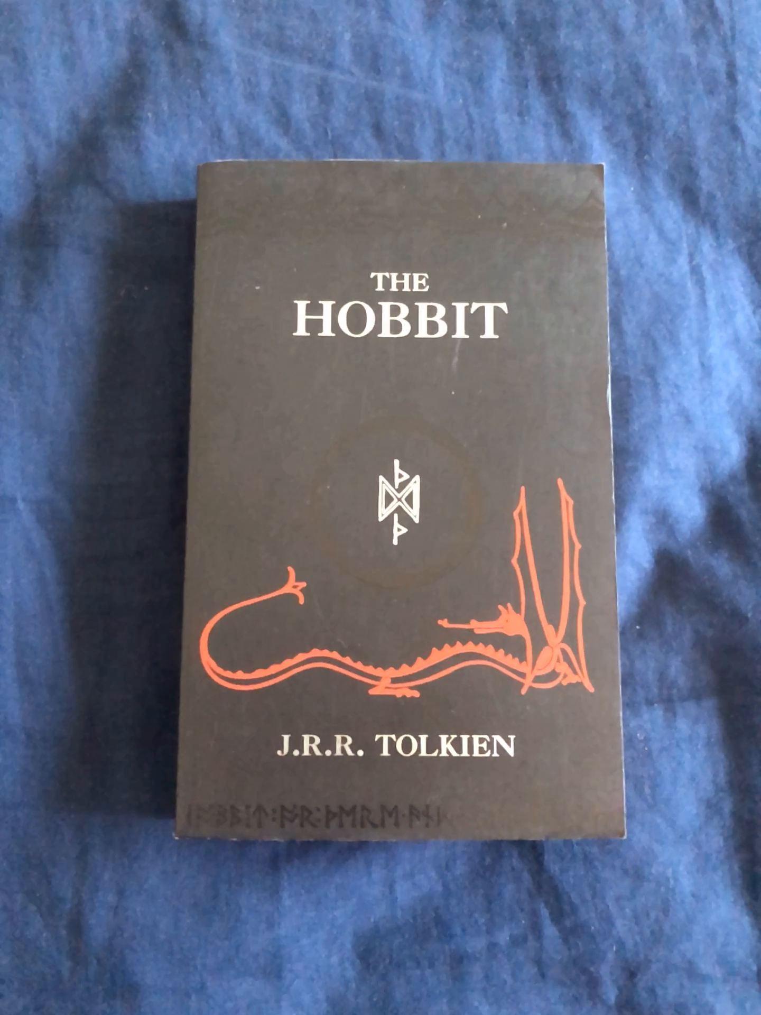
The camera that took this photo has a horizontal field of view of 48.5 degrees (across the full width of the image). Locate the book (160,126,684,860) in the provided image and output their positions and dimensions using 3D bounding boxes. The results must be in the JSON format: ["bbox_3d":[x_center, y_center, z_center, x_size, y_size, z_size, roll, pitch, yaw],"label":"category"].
[{"bbox_3d":[0.010,-0.006,0.226,0.120,0.040,0.180,1,81,-2],"label":"book"}]
